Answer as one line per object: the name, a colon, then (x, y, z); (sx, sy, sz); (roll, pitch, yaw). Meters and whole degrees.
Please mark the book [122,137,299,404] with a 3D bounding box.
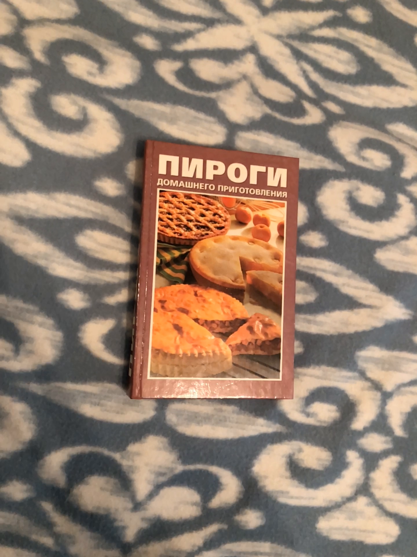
book: (0.003, -0.003, 0.381); (0.131, 0.040, 0.201); (4, 84, -12)
